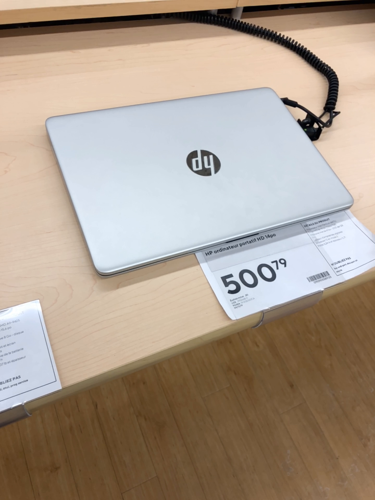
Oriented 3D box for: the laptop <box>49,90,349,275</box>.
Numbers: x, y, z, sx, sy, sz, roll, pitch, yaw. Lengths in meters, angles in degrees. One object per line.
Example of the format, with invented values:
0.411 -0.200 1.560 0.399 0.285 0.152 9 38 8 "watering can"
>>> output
0.019 -0.103 0.490 0.310 0.004 0.205 -16 63 -22 "laptop"
